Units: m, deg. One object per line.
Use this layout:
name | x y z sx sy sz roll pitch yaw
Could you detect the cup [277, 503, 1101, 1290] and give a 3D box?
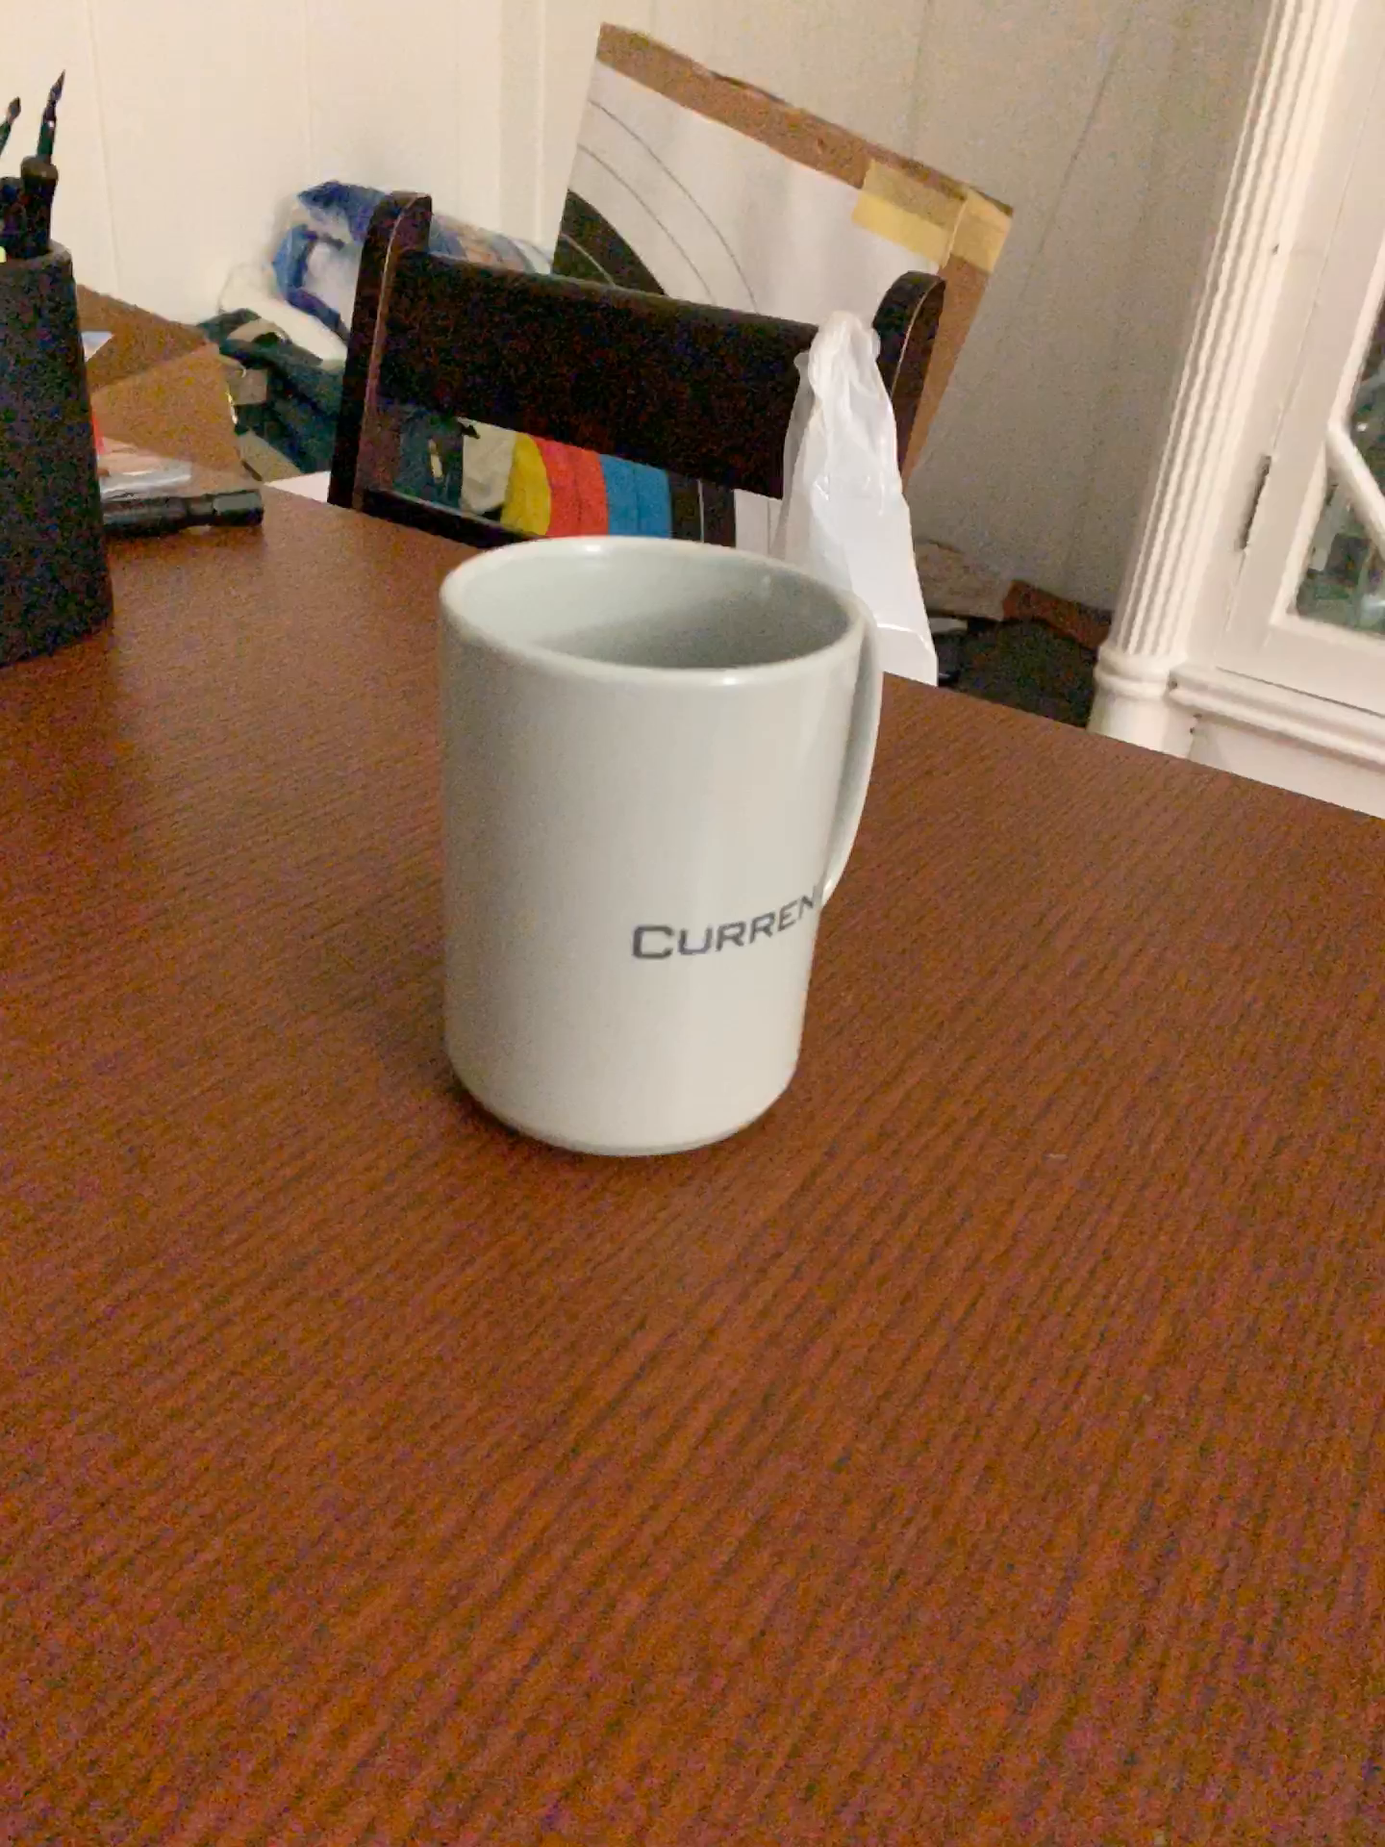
cup | -0.001 -0.019 0.320 0.140 0.109 0.100 -23 41 -39
